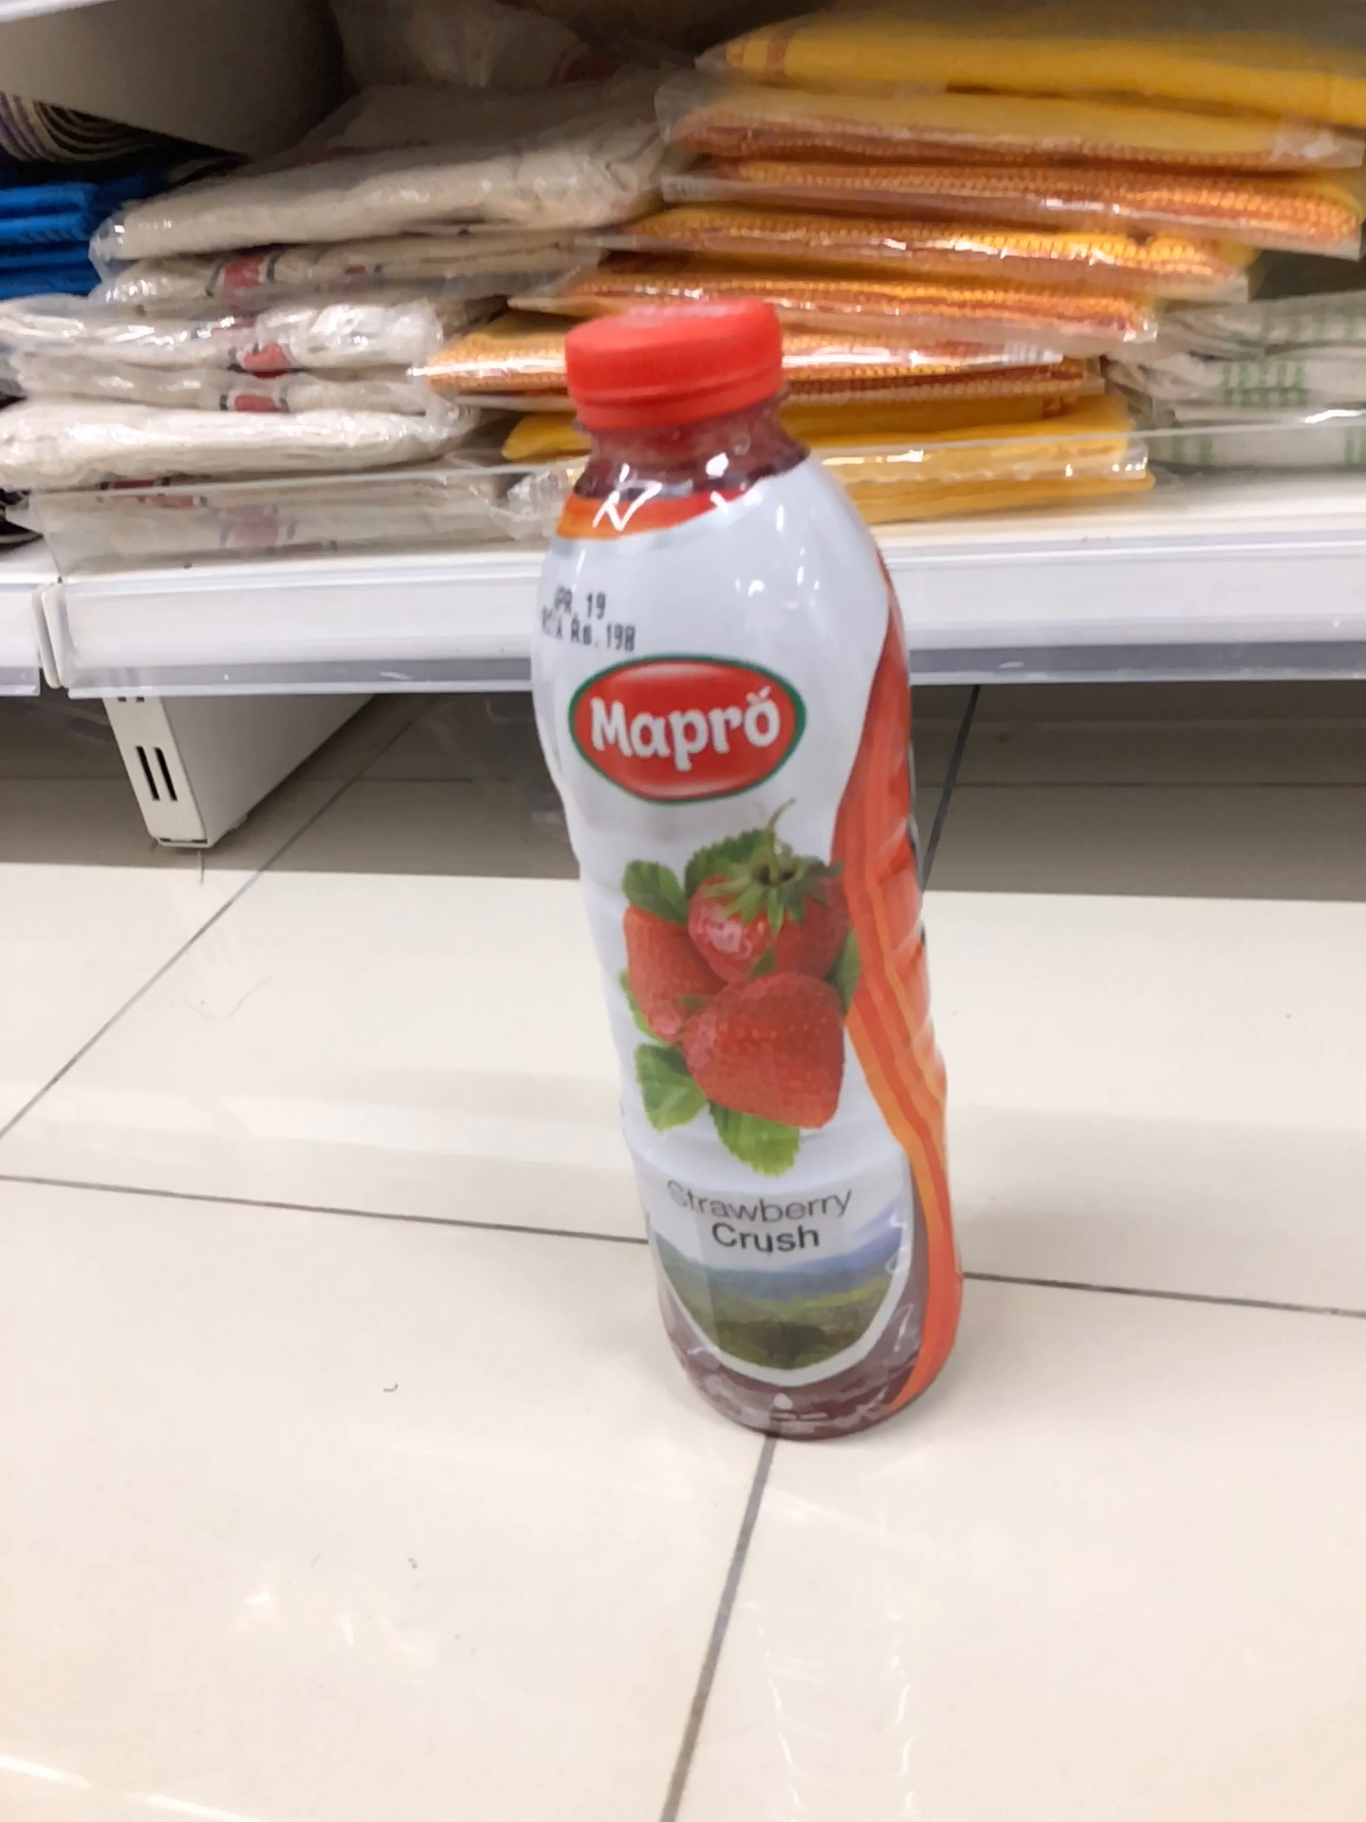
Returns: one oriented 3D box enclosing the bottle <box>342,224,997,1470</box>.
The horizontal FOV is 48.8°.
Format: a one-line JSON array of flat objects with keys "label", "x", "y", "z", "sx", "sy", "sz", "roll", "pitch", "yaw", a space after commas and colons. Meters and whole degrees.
[{"label": "bottle", "x": 0.015, "y": -0.002, "z": 0.324, "sx": 0.090, "sy": 0.248, "sz": 0.081, "roll": 1, "pitch": 31, "yaw": 16}]
